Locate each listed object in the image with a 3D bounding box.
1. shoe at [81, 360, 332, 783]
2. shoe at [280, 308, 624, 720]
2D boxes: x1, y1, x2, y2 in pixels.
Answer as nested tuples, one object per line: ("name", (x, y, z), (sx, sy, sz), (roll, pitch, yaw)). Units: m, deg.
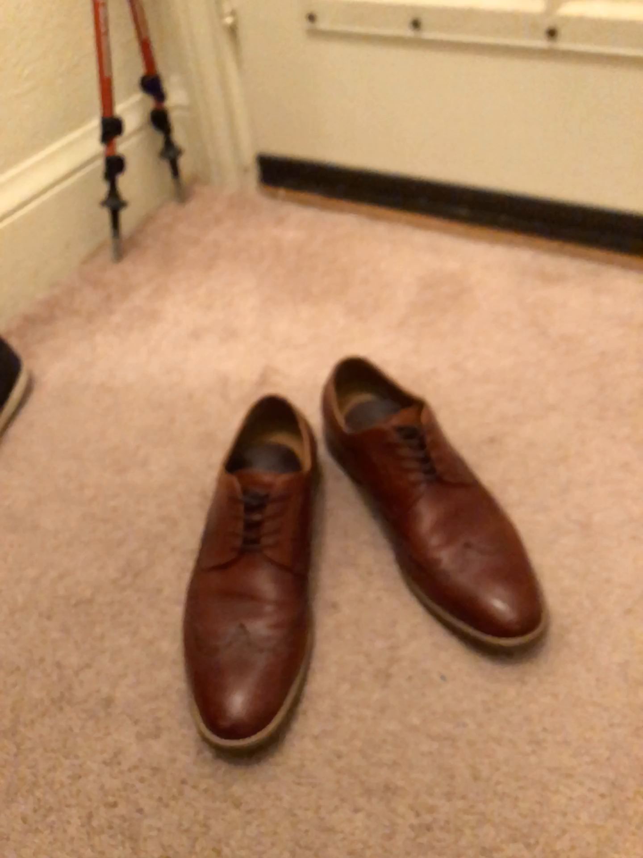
("shoe", (-0.066, 0.091, 0.572), (0.115, 0.114, 0.312), (0, 46, 8))
("shoe", (0.082, 0.048, 0.587), (0.115, 0.114, 0.312), (-21, 47, -12))
